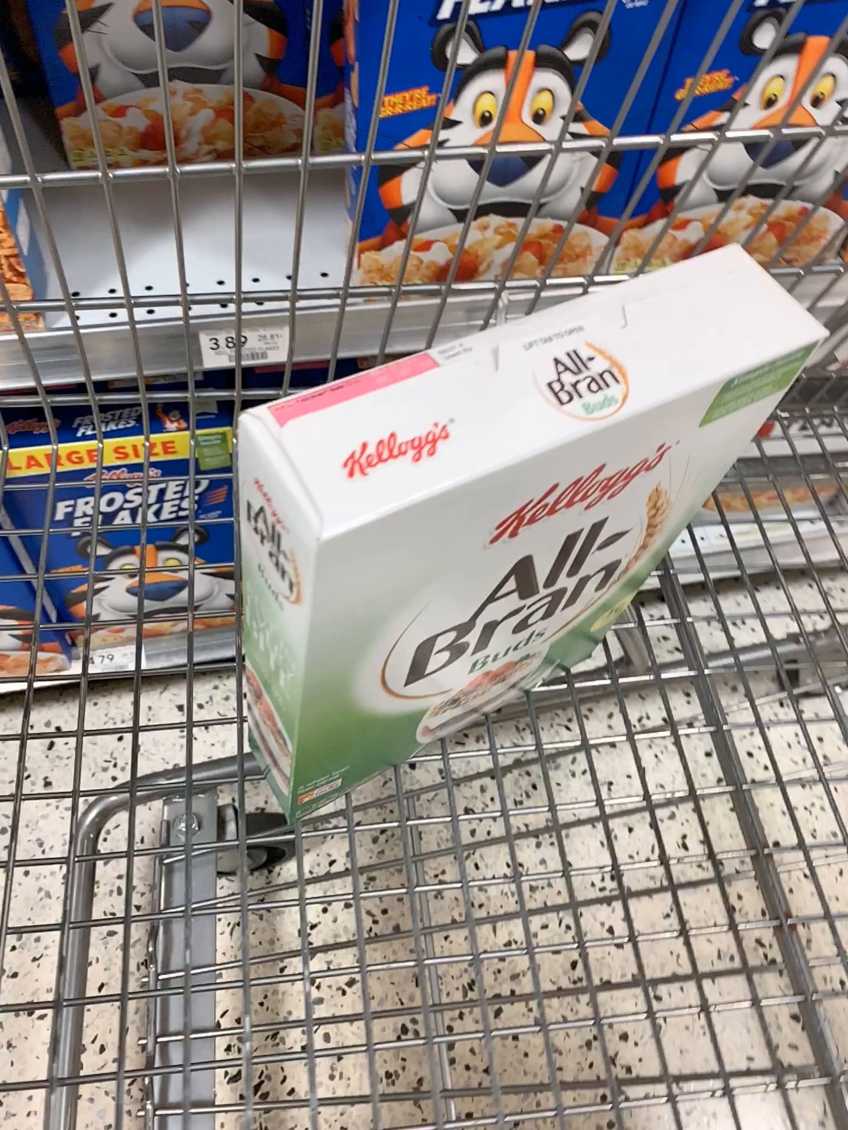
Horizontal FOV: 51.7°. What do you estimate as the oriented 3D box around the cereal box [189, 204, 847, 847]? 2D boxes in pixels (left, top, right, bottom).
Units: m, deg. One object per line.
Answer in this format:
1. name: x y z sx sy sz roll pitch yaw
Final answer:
1. cereal box: 0.019 0.013 0.368 0.201 0.298 0.050 -24 67 -22
